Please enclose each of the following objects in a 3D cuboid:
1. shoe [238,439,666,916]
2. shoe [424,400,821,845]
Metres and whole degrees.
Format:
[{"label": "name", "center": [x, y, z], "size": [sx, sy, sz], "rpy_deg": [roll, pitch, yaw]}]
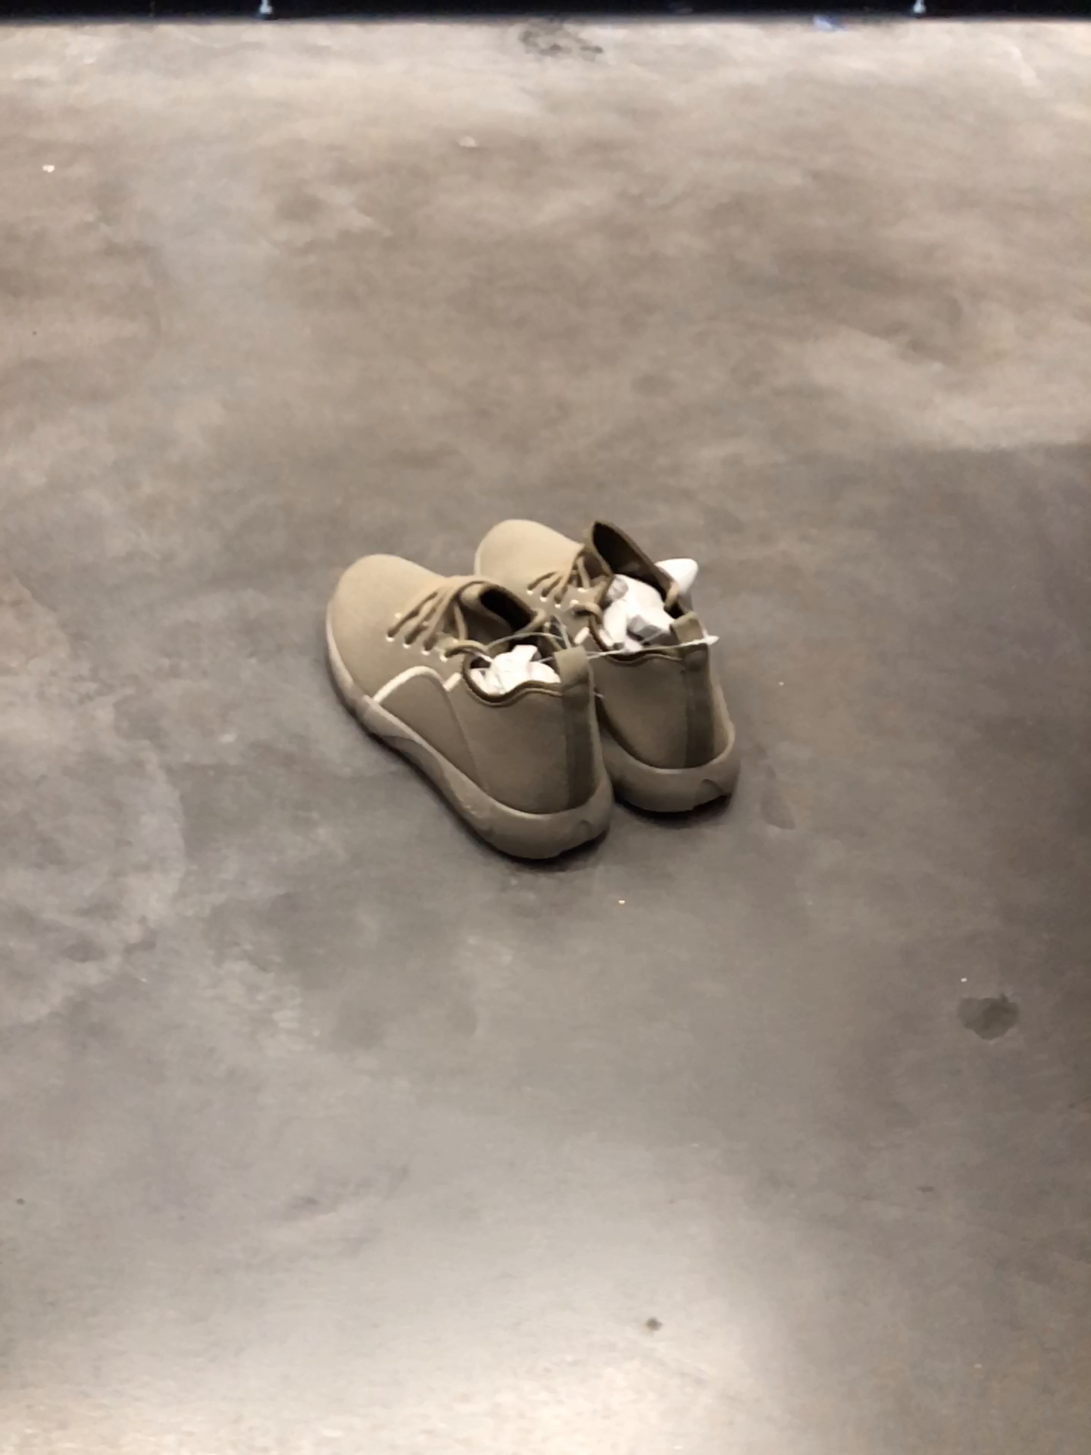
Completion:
[{"label": "shoe", "center": [-0.057, -0.037, 0.634], "size": [0.100, 0.109, 0.240], "rpy_deg": [-24, 49, -26]}, {"label": "shoe", "center": [0.028, -0.068, 0.663], "size": [0.090, 0.109, 0.241], "rpy_deg": [-20, 48, -23]}]
